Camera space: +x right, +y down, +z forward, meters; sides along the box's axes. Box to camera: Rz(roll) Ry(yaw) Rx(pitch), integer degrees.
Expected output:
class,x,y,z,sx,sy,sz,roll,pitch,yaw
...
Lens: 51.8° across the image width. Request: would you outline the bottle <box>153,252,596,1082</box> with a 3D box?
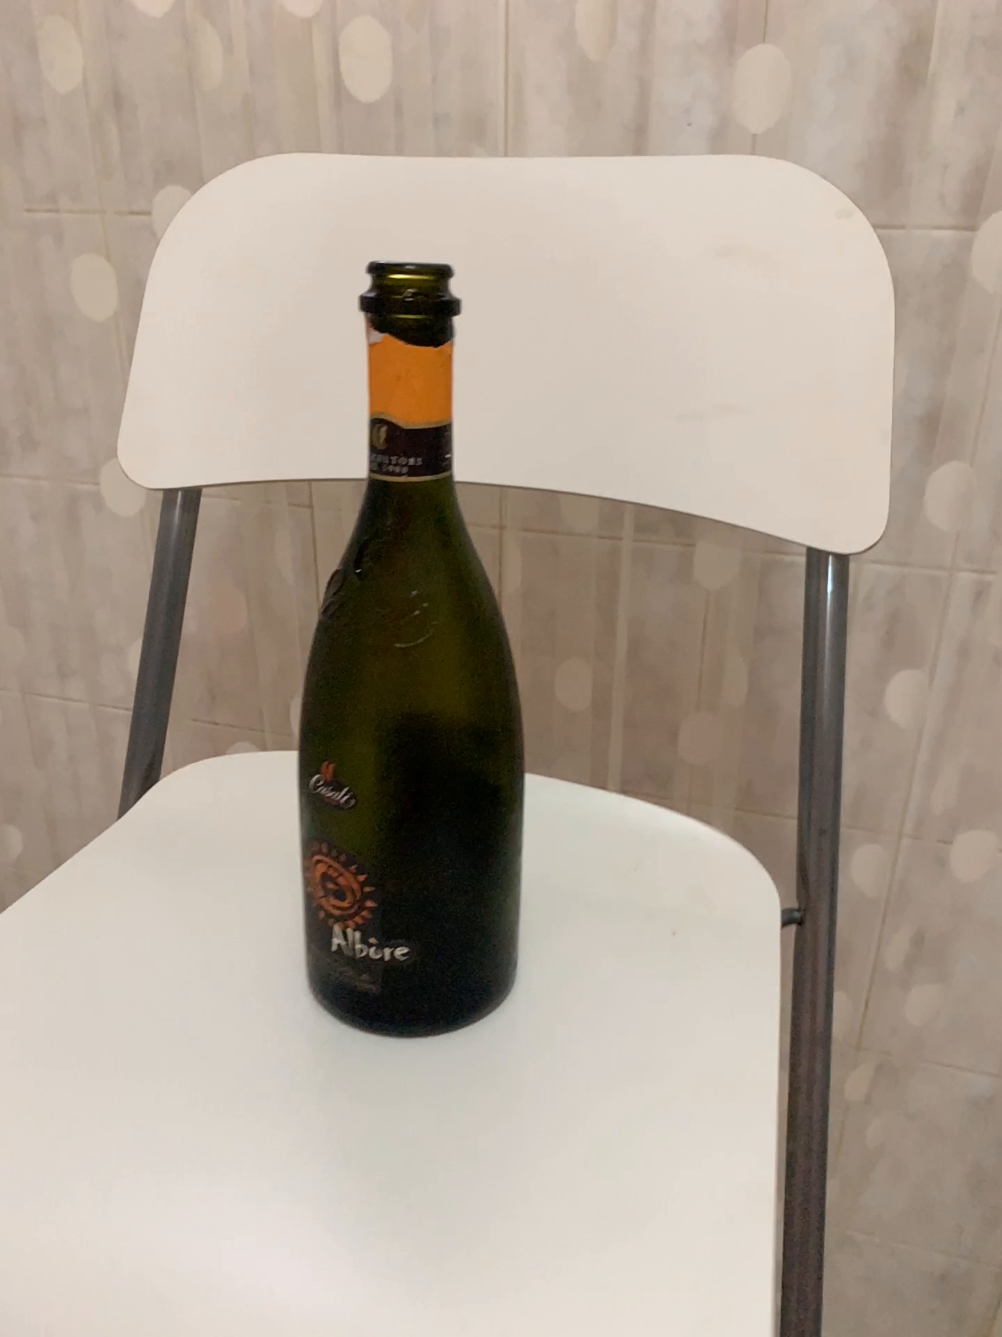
class,x,y,z,sx,sy,sz,roll,pitch,yaw
bottle,-0.039,-0.003,0.375,0.101,0.269,0.093,1,24,0
